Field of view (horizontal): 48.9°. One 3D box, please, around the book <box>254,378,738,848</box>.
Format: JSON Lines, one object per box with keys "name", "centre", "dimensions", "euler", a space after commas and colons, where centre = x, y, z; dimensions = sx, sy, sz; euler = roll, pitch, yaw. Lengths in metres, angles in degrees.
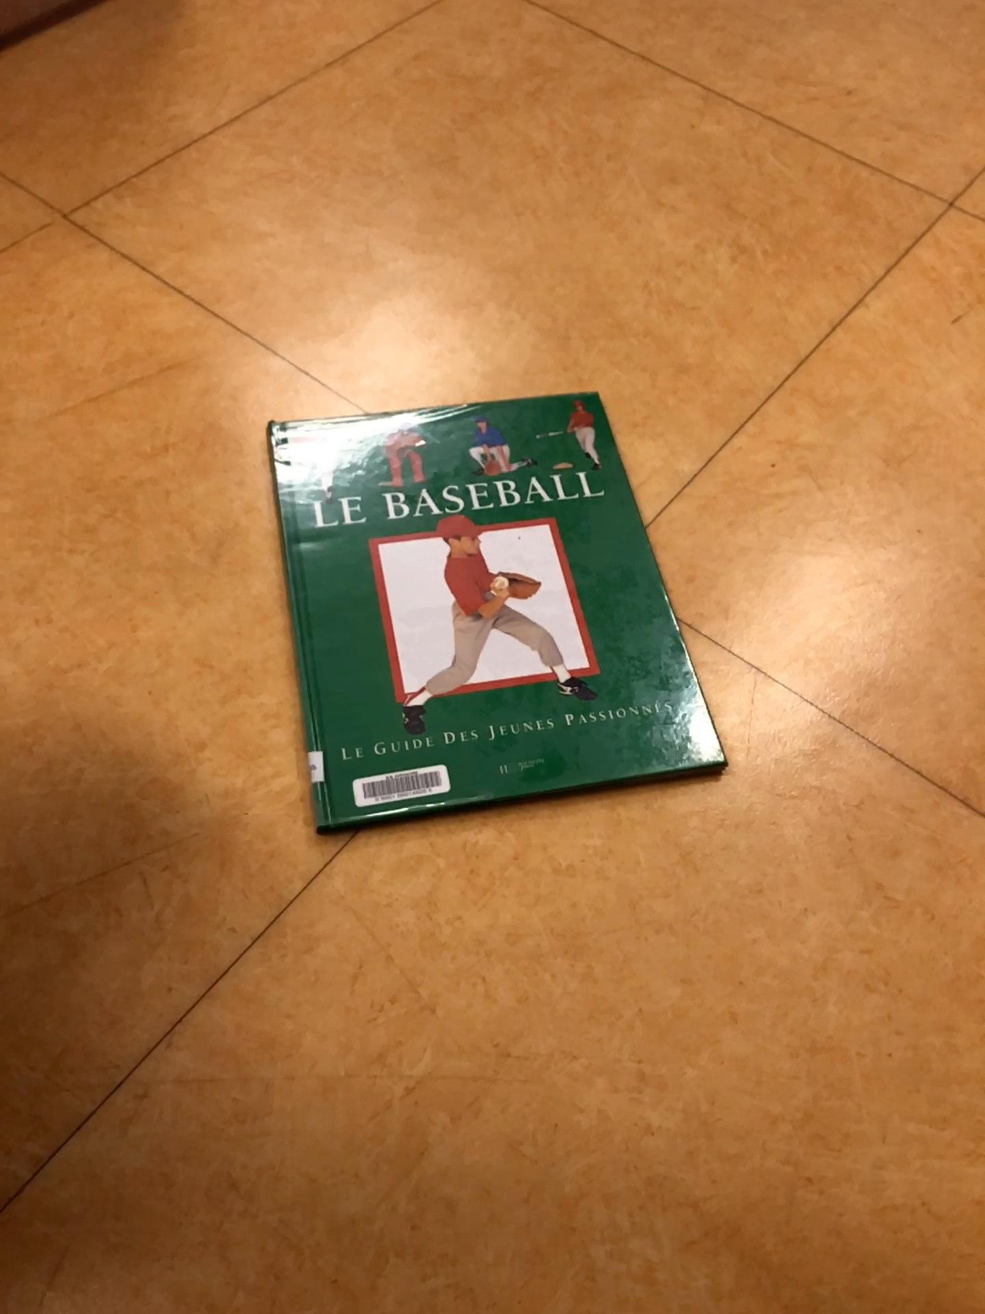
{"name": "book", "centre": [-0.011, -0.043, 0.611], "dimensions": [0.219, 0.020, 0.281], "euler": [-7, 58, -10]}
